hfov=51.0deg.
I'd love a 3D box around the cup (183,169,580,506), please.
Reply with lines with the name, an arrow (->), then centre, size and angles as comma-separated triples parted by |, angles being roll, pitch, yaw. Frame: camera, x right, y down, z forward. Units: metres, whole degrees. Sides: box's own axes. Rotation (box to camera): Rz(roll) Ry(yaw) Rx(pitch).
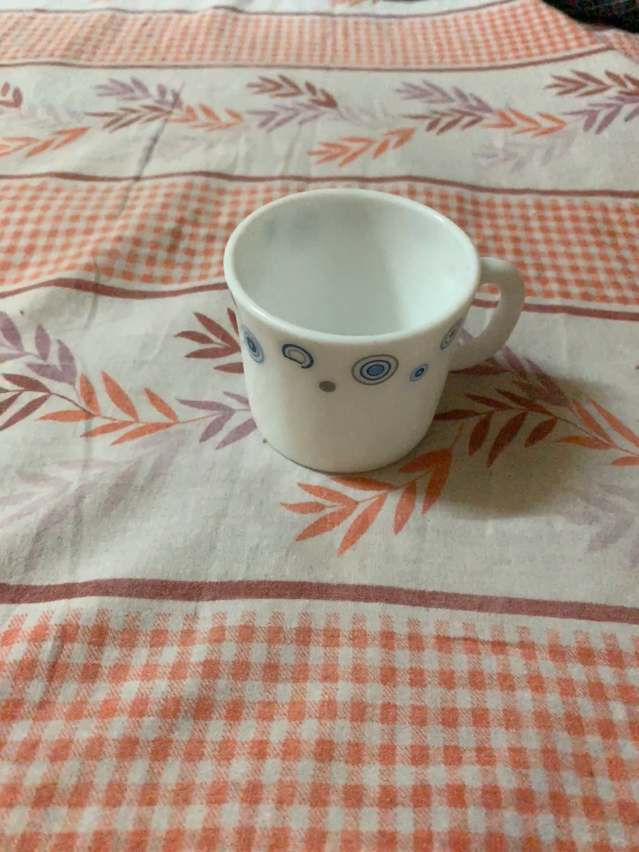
cup -> 0.012, -0.030, 0.219 | 0.100, 0.070, 0.070 | -7, 50, -7
